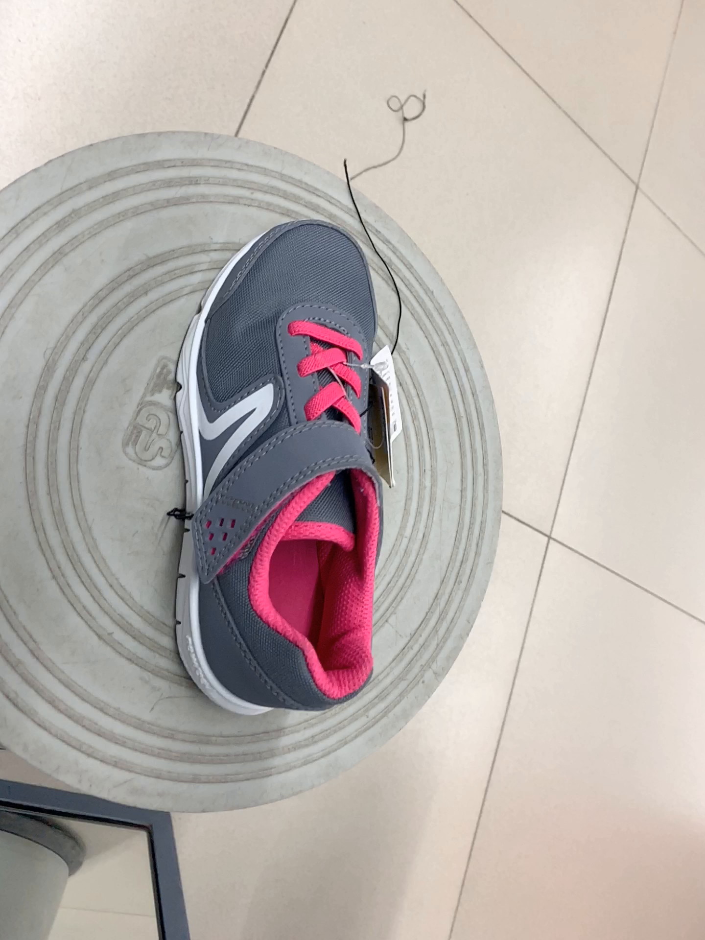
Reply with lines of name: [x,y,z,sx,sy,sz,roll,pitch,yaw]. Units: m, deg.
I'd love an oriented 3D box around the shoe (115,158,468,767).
shoe: [-0.023,0.001,0.255,0.070,0.090,0.170,11,81,-33]
